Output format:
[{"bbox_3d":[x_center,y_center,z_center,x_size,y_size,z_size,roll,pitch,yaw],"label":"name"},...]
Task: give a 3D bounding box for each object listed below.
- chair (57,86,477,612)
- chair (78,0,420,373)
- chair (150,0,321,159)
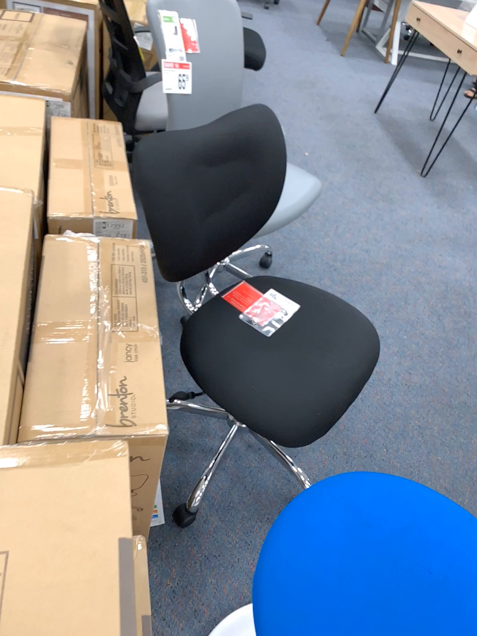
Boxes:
[{"bbox_3d":[0.077,0.066,1.189,0.658,0.880,0.650,35,47,20],"label":"chair"},{"bbox_3d":[-0.005,-0.511,1.718,0.707,0.959,0.740,30,46,16],"label":"chair"},{"bbox_3d":[-0.086,-1.666,2.835,0.707,0.989,0.982,5,44,-9],"label":"chair"}]
